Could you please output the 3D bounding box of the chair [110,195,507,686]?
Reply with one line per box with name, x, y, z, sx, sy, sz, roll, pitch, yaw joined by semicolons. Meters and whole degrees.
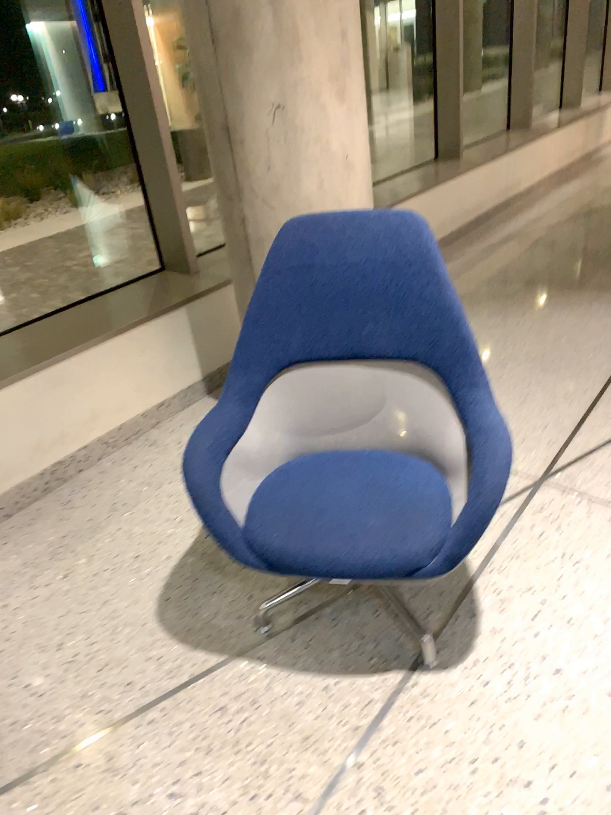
chair;0.109;0.045;1.598;0.716;0.961;0.638;3;30;20
